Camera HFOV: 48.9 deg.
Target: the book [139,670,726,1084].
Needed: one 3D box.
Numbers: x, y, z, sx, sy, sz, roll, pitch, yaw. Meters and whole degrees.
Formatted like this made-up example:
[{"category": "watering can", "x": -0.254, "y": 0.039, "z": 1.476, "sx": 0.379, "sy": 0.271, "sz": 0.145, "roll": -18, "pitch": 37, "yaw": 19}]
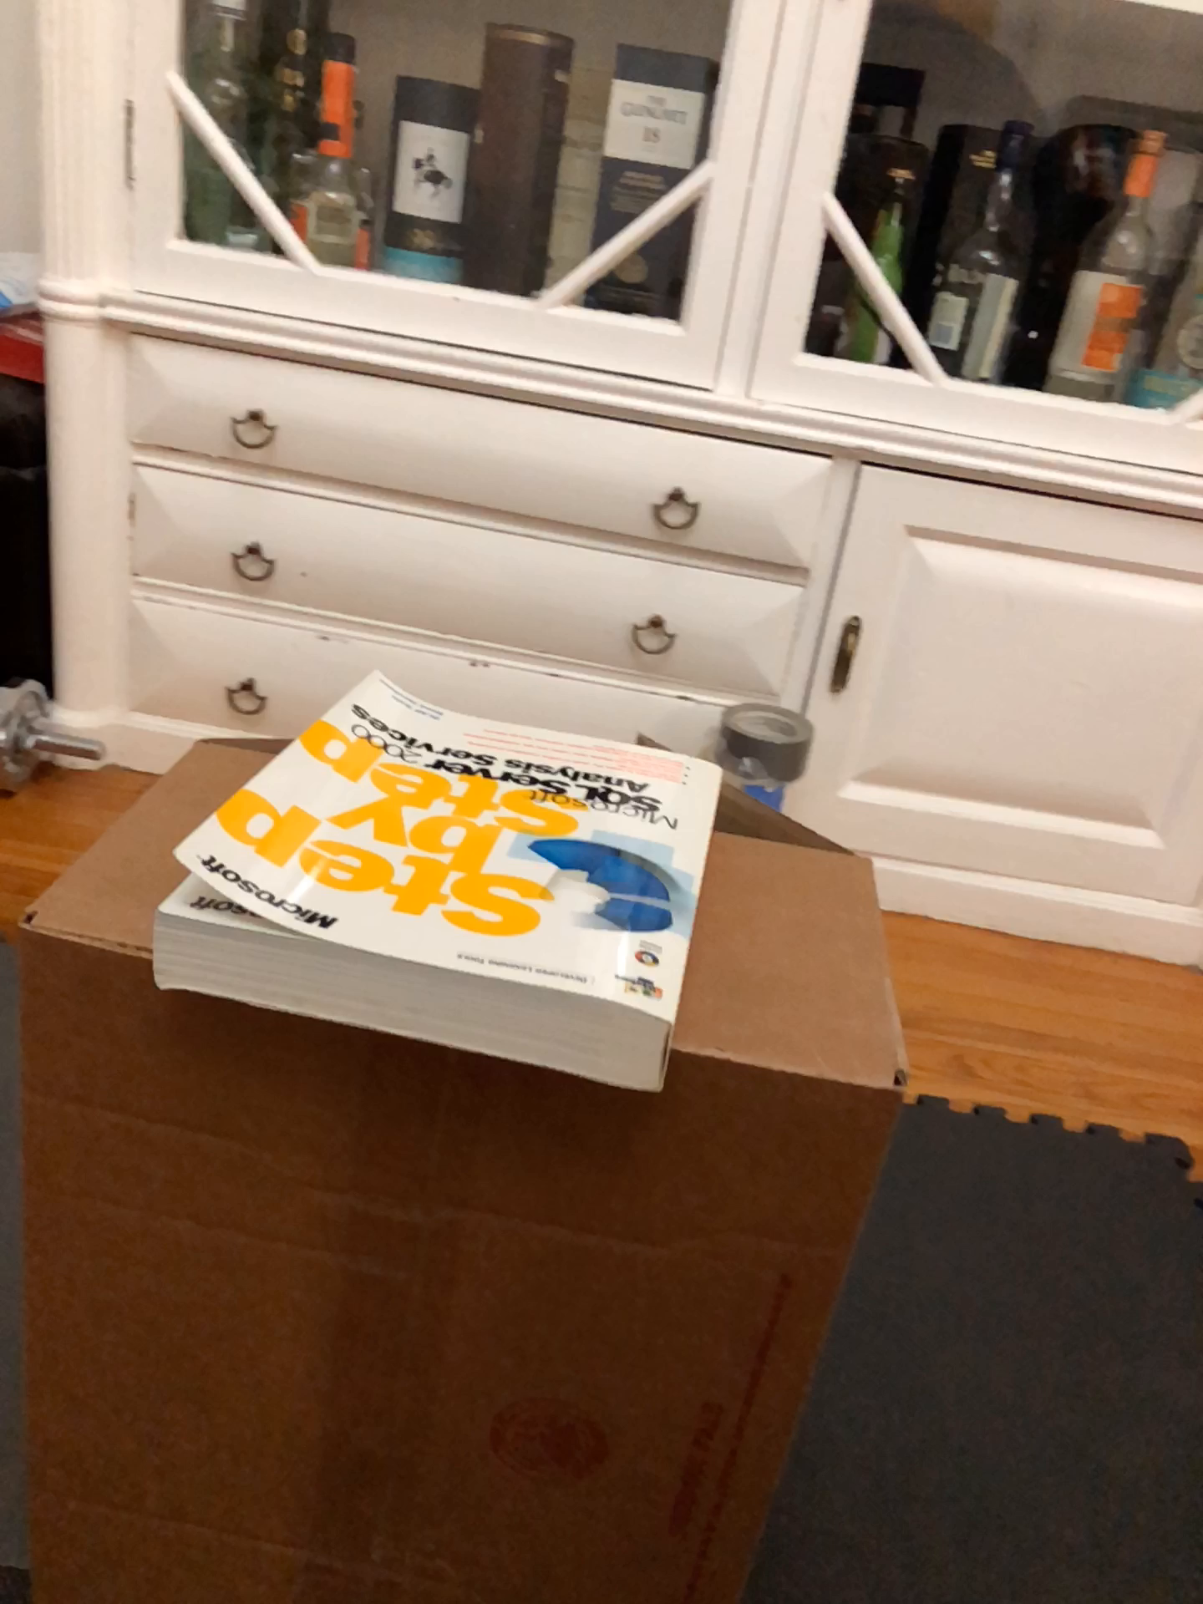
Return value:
[{"category": "book", "x": -0.050, "y": 0.016, "z": 0.564, "sx": 0.200, "sy": 0.050, "sz": 0.241, "roll": 7, "pitch": 23, "yaw": 2}]
